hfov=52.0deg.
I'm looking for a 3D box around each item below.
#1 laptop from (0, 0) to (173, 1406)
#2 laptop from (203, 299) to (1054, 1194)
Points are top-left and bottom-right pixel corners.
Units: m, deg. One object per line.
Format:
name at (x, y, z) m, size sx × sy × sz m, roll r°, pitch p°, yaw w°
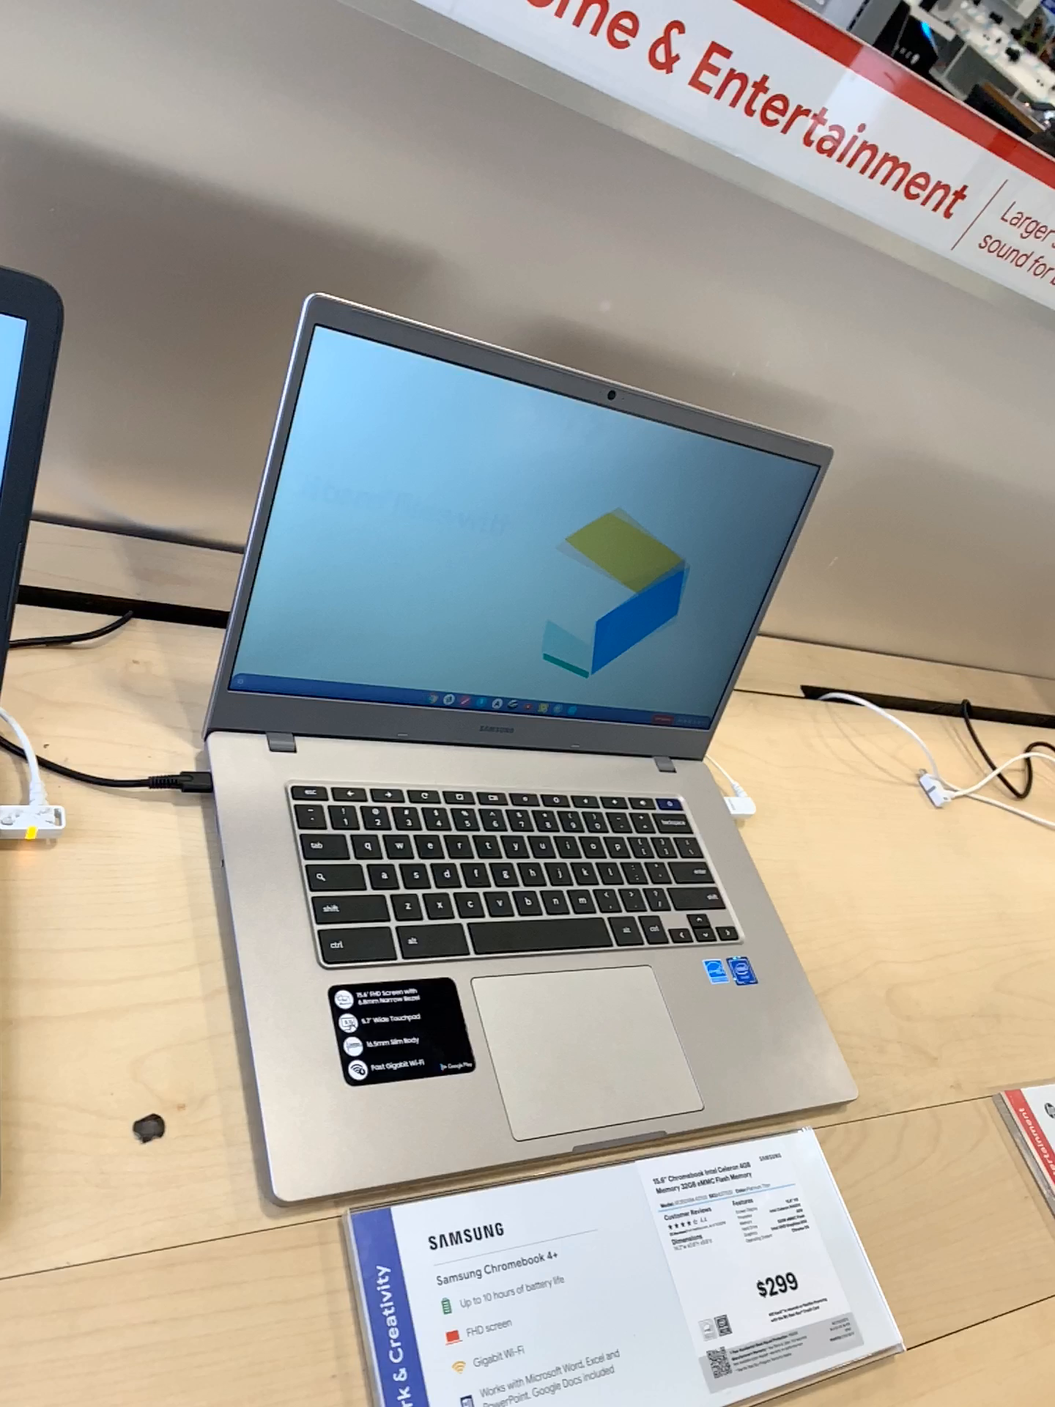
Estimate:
laptop at (-0.303, -0.001, 0.317) m, size 0.301 × 0.191 × 0.288 m, roll 4°, pitch 48°, yaw -33°
laptop at (0.048, 0.019, 0.559) m, size 0.341 × 0.200 × 0.325 m, roll 5°, pitch 49°, yaw -32°
